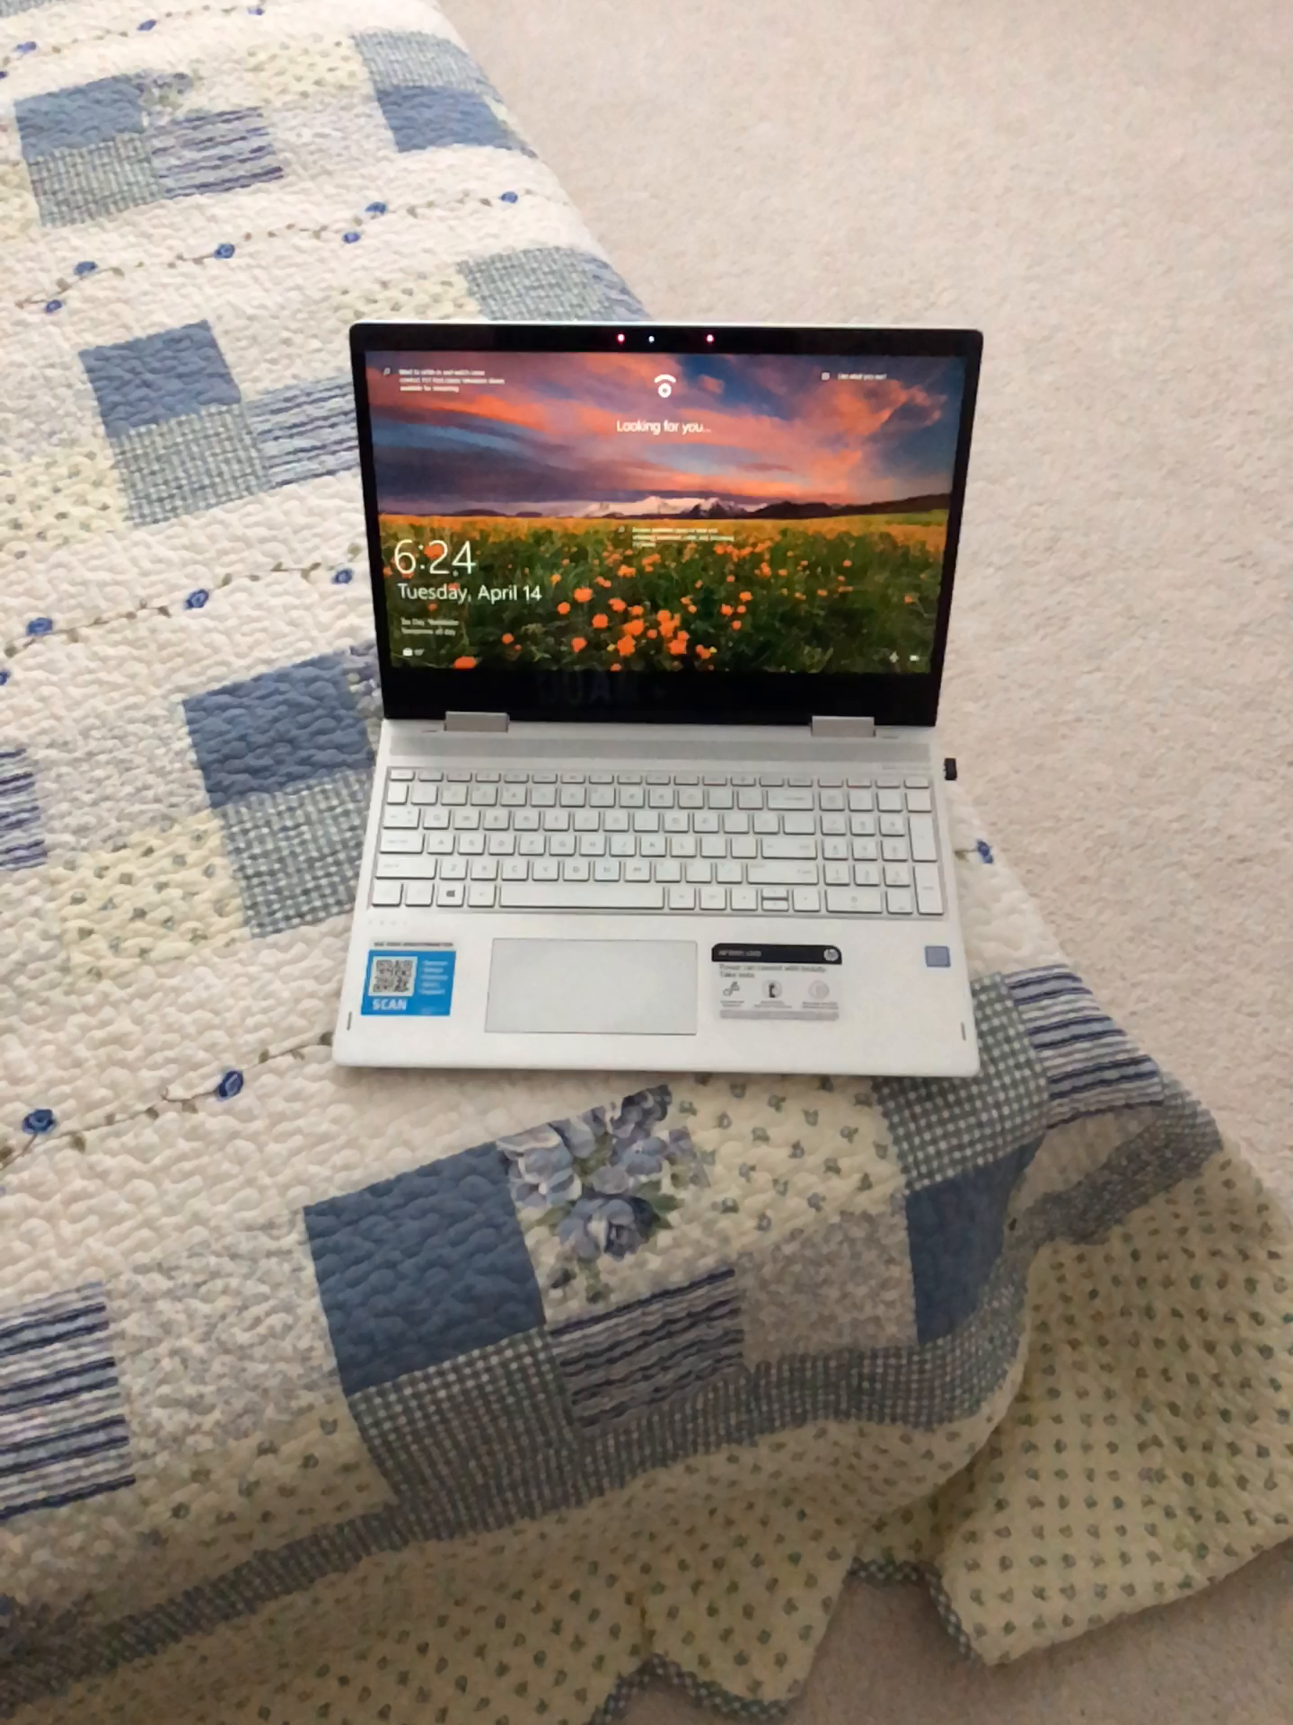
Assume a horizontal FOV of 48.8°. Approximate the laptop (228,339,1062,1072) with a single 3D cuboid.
[{"bbox_3d":[0.004,-0.090,0.794,0.355,0.208,0.358,1,57,0],"label":"laptop"}]
